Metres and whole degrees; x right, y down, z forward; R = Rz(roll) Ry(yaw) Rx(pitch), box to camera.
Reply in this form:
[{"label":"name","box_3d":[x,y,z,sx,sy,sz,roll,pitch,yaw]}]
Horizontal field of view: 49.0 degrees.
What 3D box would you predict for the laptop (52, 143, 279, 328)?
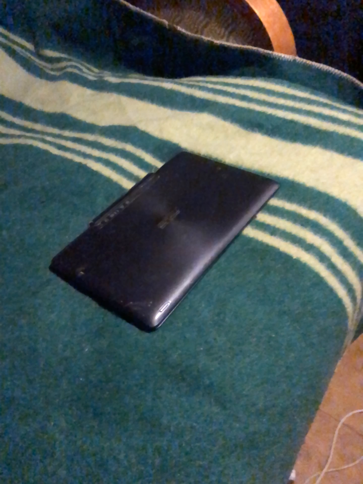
[{"label":"laptop","box_3d":[-0.013,-0.032,0.509,0.167,0.017,0.263,25,55,30]}]
